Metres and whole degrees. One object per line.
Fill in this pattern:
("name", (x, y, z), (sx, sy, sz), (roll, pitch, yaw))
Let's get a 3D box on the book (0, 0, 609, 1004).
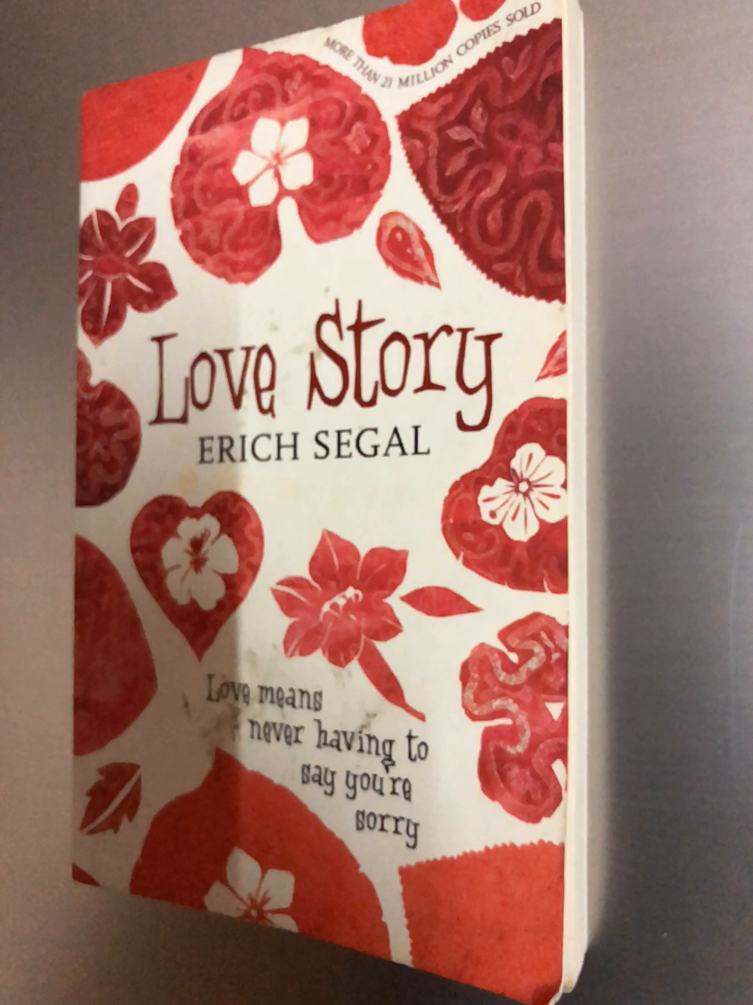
("book", (-0.017, -0.012, 0.172), (0.120, 0.030, 0.180), (-1, 87, 24))
